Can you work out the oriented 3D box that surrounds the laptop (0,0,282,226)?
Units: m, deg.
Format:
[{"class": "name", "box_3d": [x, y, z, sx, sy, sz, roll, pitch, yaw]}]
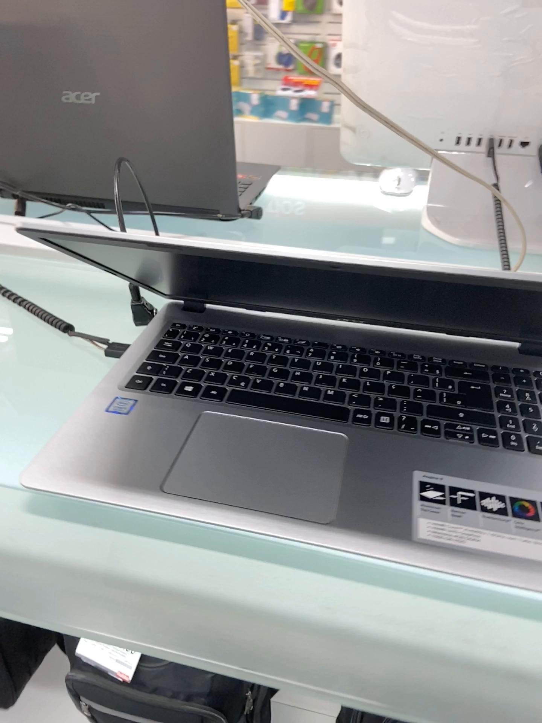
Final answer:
[{"class": "laptop", "box_3d": [-0.196, -0.385, 0.794, 0.363, 0.249, 0.266, 9, 36, 10]}]

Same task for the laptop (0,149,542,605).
[{"class": "laptop", "box_3d": [0.052, -0.026, 0.362, 0.360, 0.138, 0.237, 8, 35, 10]}]
